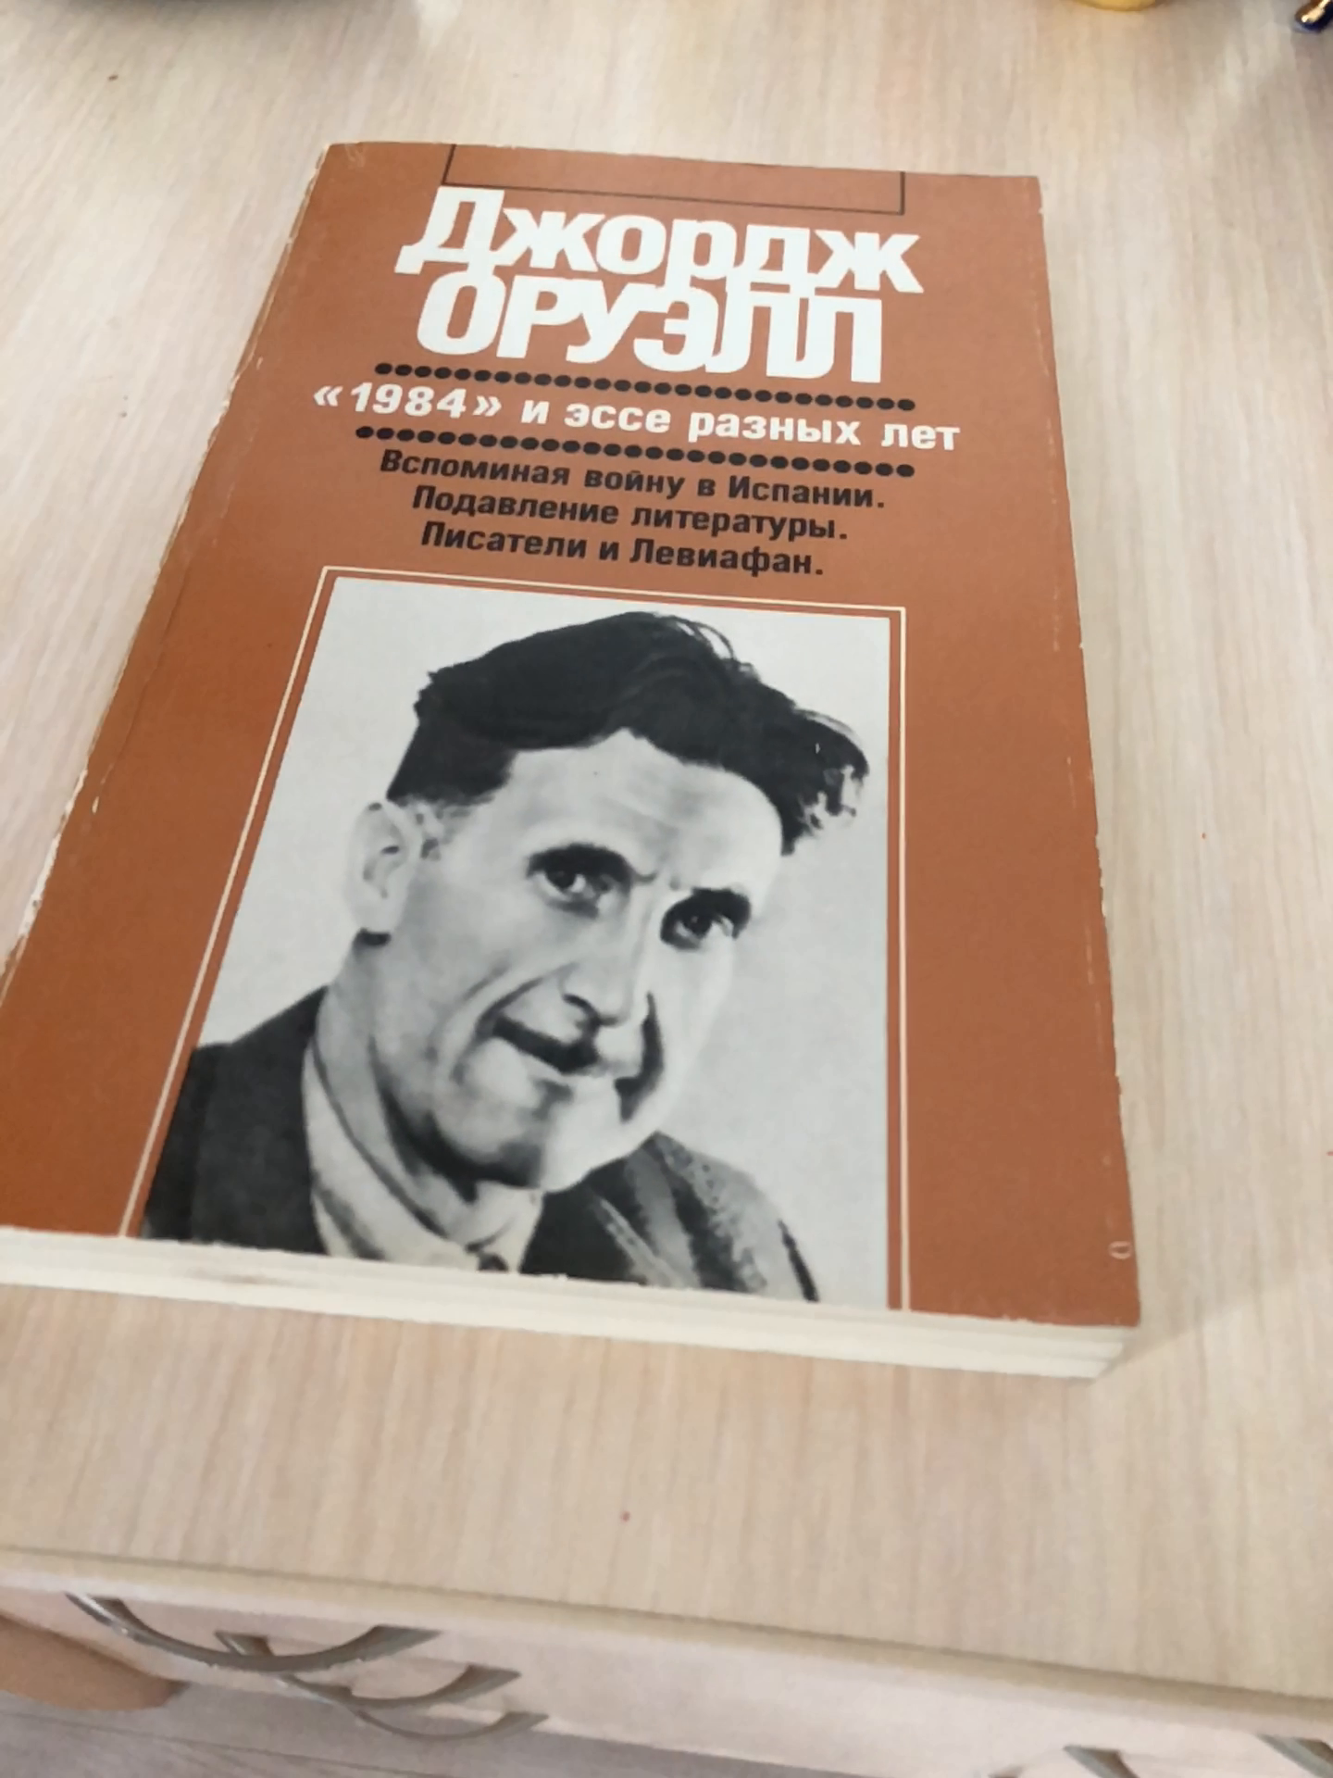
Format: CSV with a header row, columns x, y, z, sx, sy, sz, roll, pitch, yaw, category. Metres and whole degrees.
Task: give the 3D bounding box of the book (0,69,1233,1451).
x,y,z,sx,sy,sz,roll,pitch,yaw,category
-0.006,-0.040,0.210,0.130,0.040,0.211,4,56,3,book
